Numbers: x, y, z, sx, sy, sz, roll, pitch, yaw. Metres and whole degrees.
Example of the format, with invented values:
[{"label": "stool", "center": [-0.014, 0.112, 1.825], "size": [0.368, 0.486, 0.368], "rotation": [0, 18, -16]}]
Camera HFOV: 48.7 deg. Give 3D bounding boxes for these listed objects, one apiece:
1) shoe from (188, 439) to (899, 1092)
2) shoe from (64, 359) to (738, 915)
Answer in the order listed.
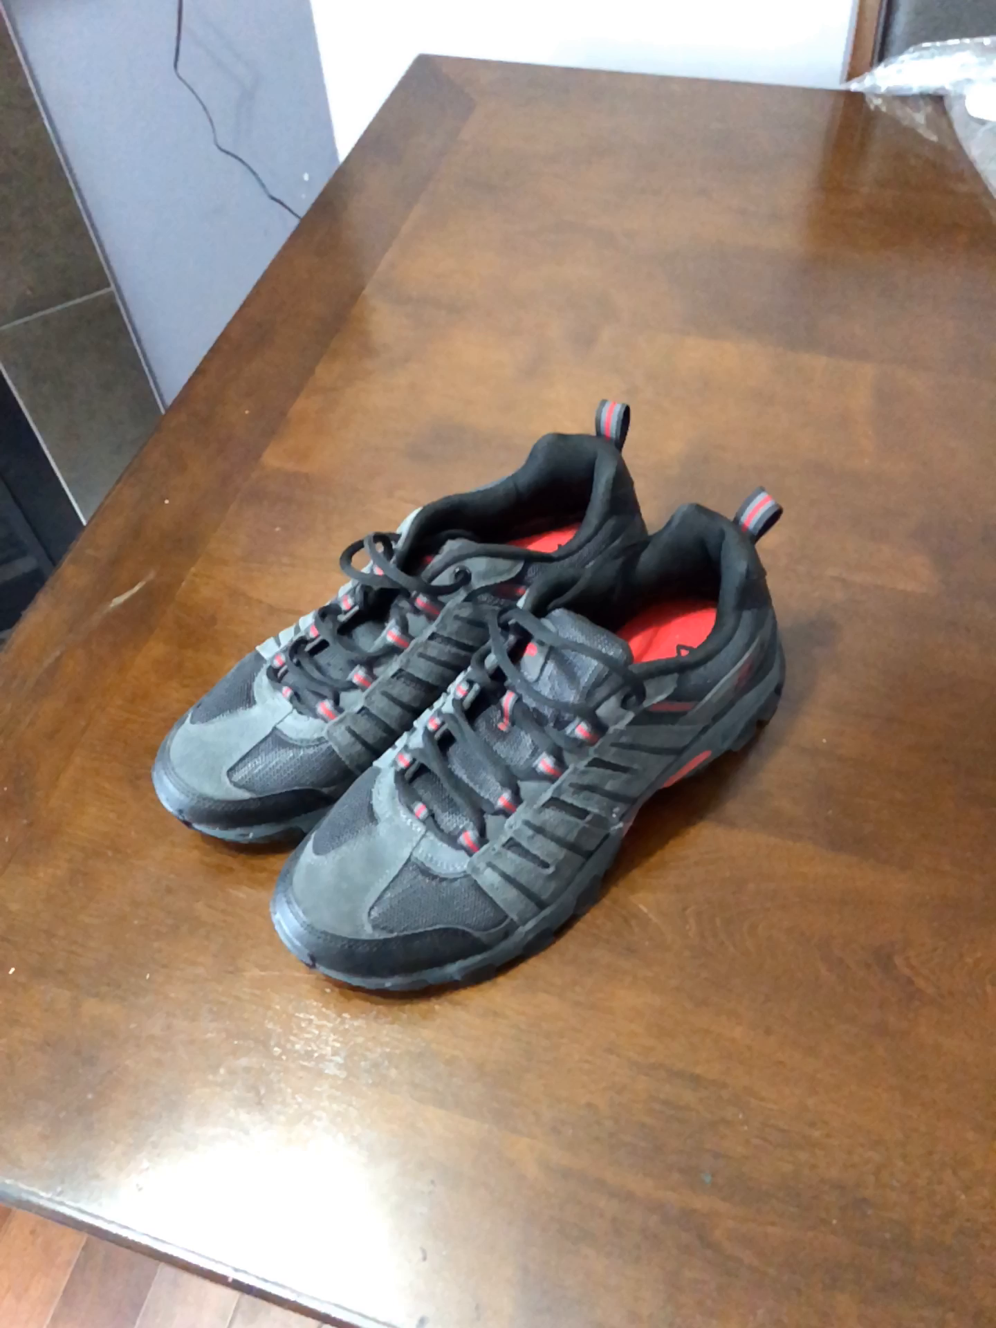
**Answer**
[{"label": "shoe", "center": [0.030, 0.035, 0.510], "size": [0.300, 0.100, 0.120], "rotation": [-36, 59, -20]}, {"label": "shoe", "center": [-0.039, -0.023, 0.557], "size": [0.300, 0.100, 0.120], "rotation": [-31, 58, -17]}]
